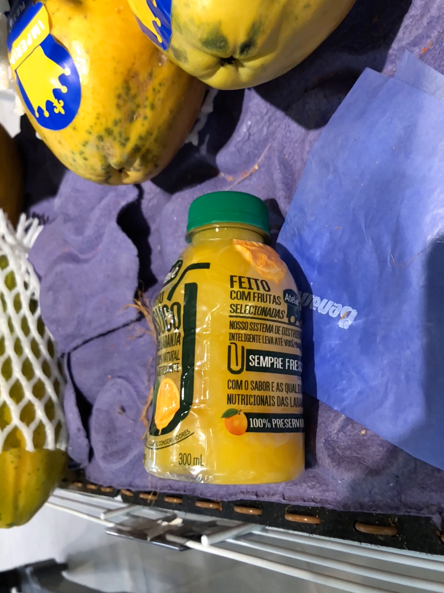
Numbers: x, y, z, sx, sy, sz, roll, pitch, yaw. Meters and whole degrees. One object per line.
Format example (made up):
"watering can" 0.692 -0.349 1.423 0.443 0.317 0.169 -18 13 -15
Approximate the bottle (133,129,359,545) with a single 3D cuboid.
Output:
"bottle" 0.006 0.016 0.214 0.070 0.060 0.140 -13 77 52
